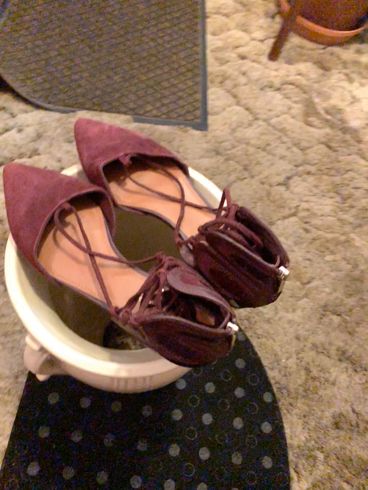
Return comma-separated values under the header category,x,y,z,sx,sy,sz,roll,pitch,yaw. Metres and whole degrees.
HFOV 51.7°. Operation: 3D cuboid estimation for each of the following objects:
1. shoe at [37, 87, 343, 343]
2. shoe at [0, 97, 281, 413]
category,x,y,z,sx,sy,sz,roll,pitch,yaw
shoe,-0.012,-0.047,0.351,0.090,0.070,0.281,-39,59,-23
shoe,-0.076,-0.007,0.298,0.280,0.070,0.090,35,64,20
